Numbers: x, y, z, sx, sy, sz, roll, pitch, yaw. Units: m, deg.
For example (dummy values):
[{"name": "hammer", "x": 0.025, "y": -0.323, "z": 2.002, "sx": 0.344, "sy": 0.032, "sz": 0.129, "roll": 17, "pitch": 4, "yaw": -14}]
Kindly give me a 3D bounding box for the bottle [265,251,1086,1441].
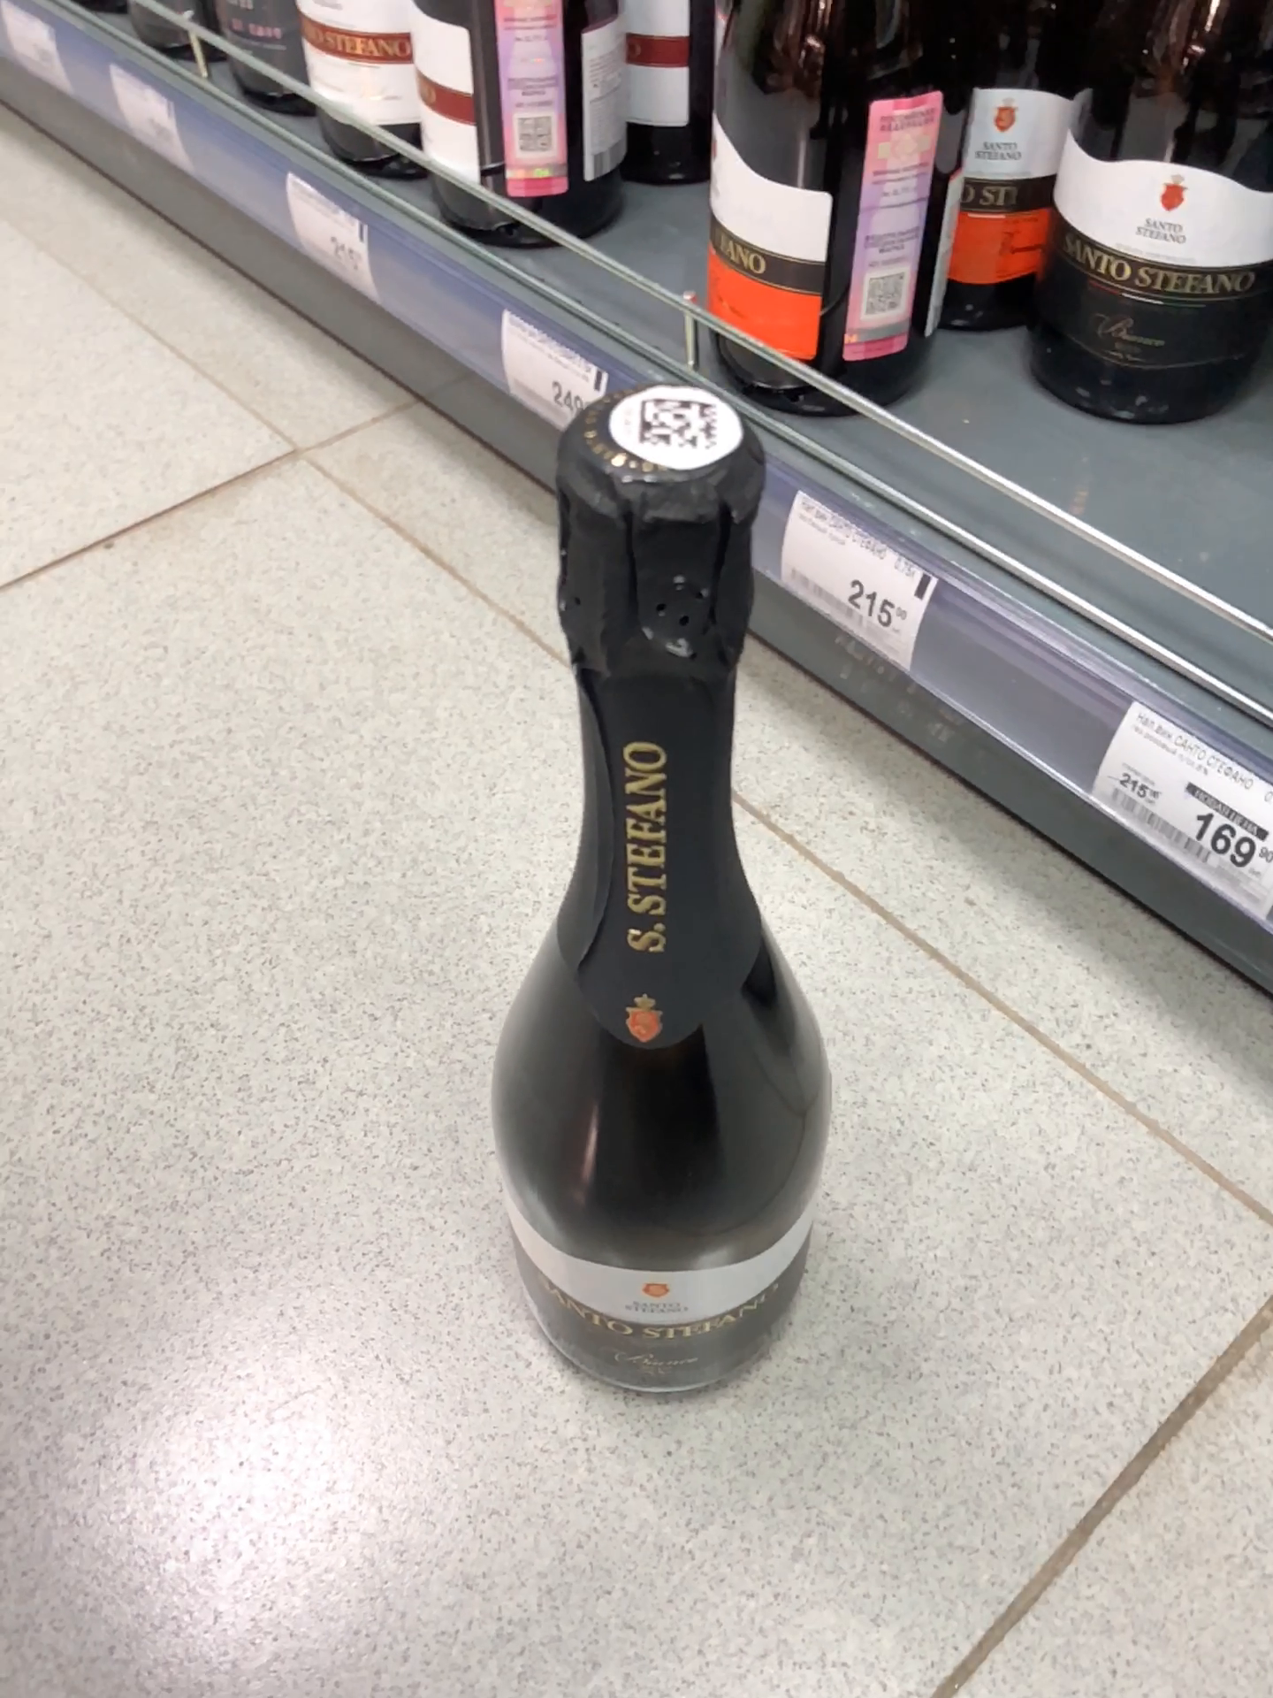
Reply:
[{"name": "bottle", "x": 0.012, "y": 0.031, "z": 0.332, "sx": 0.110, "sy": 0.299, "sz": 0.100, "roll": 0, "pitch": 49, "yaw": 0}]
